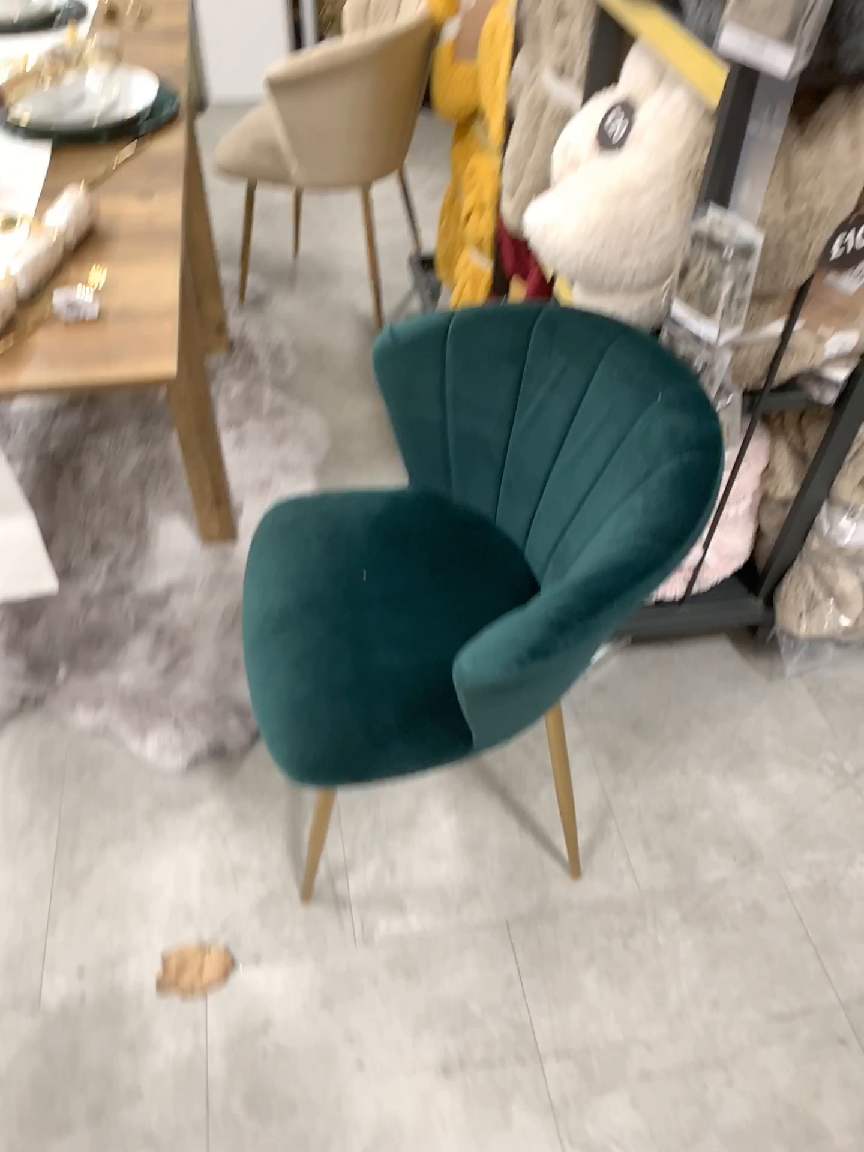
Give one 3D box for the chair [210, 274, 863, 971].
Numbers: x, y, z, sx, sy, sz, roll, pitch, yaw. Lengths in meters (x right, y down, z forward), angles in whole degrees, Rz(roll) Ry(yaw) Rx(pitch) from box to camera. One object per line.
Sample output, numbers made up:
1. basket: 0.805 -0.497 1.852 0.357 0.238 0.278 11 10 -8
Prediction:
1. chair: 0.051 0.074 1.169 0.569 0.692 0.552 -7 48 -8
